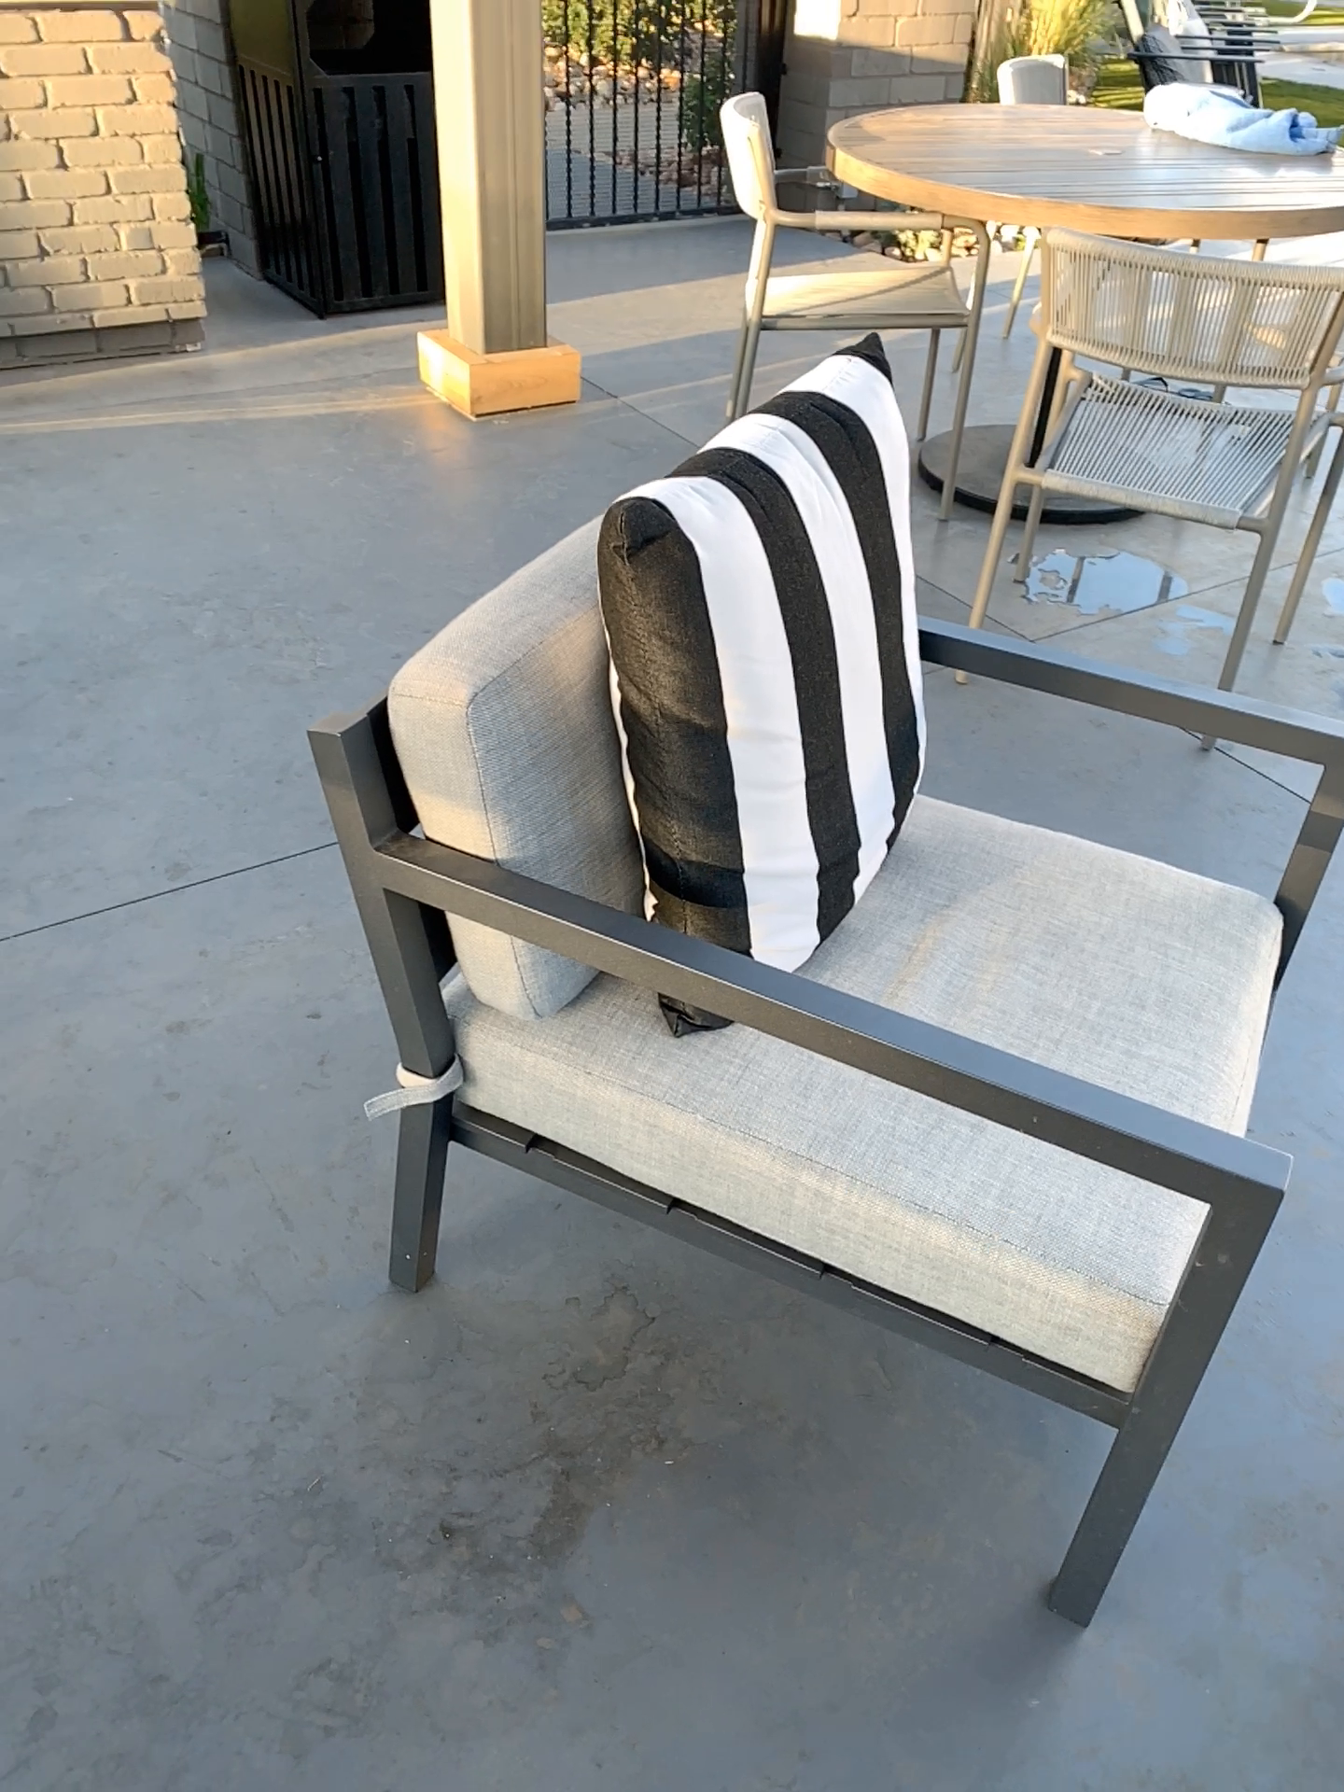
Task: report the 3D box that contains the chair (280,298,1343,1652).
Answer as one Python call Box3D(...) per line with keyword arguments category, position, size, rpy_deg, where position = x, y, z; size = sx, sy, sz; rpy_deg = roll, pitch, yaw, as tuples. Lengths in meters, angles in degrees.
Box3D(category="chair", position=(0.224, -0.003, 1.277), size=(0.751, 0.796, 0.733), rpy_deg=(18, 39, 20))
